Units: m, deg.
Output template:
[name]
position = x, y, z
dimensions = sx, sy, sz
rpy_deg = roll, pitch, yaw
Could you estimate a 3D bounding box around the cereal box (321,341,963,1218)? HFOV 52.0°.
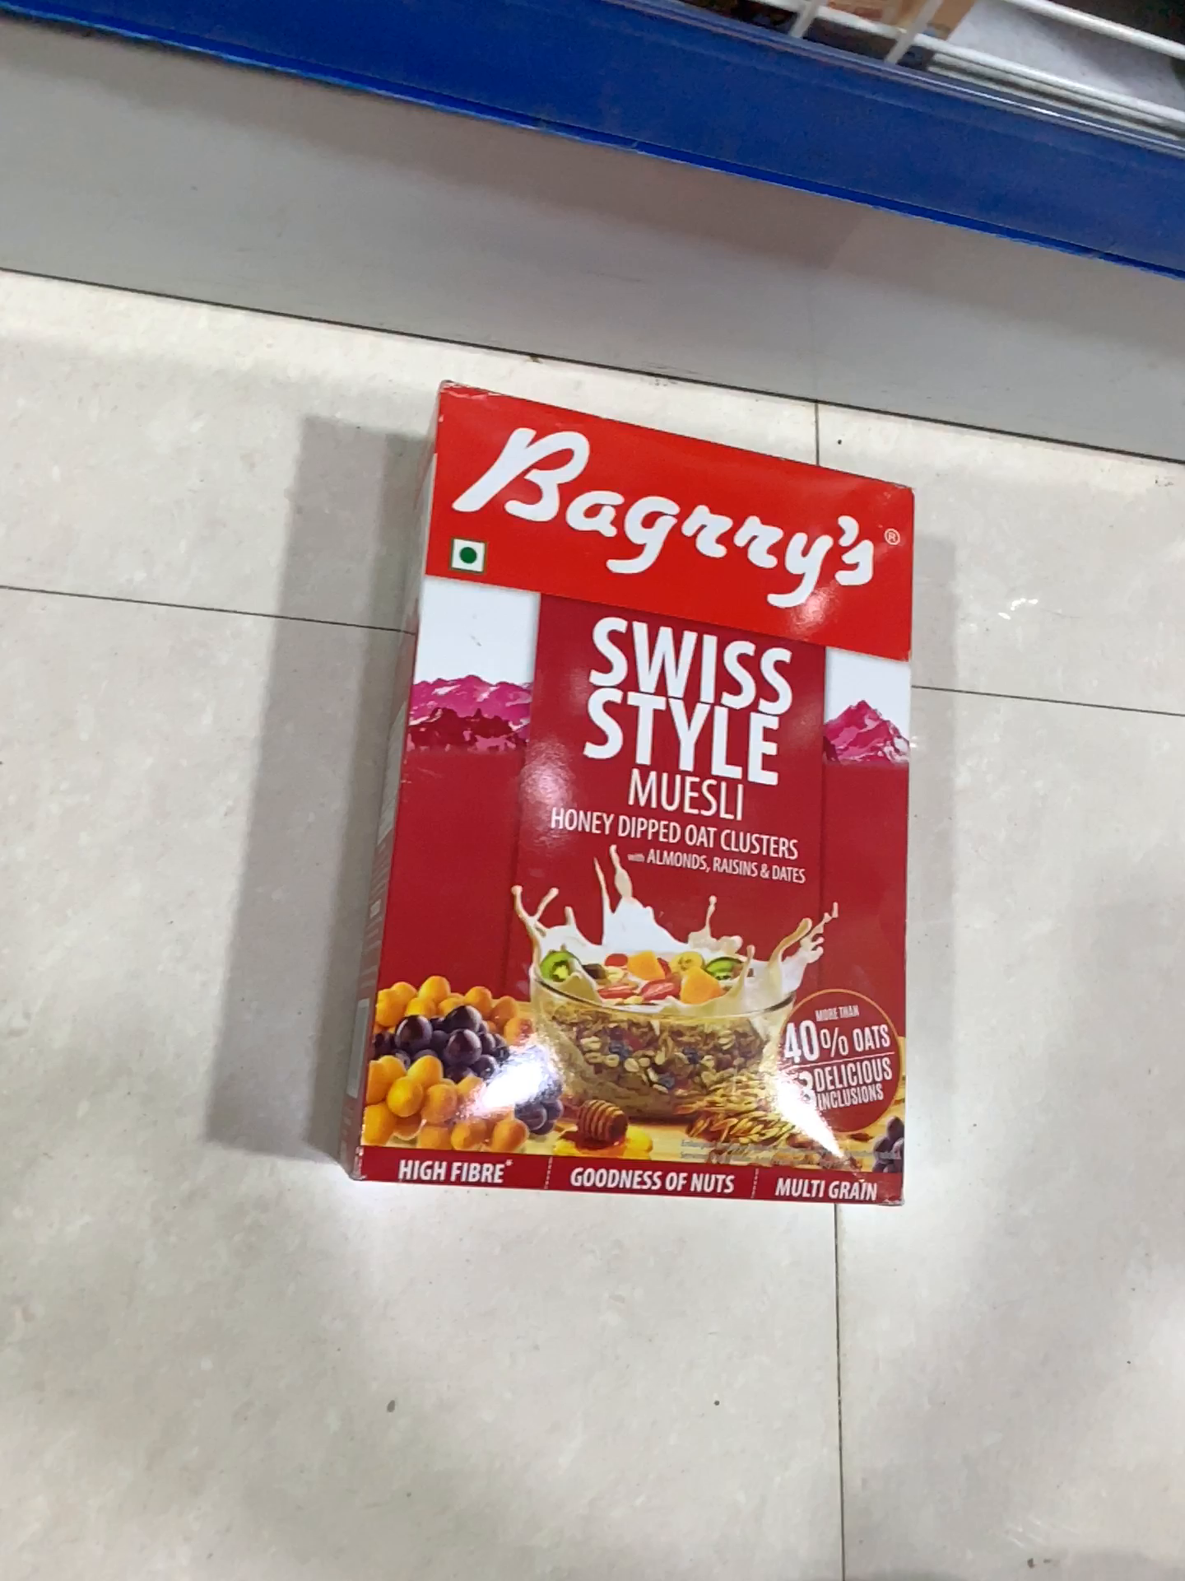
[cereal box]
position = 0.021, 0.003, 0.425
dimensions = 0.190, 0.080, 0.260
rpy_deg = 8, 78, -16
